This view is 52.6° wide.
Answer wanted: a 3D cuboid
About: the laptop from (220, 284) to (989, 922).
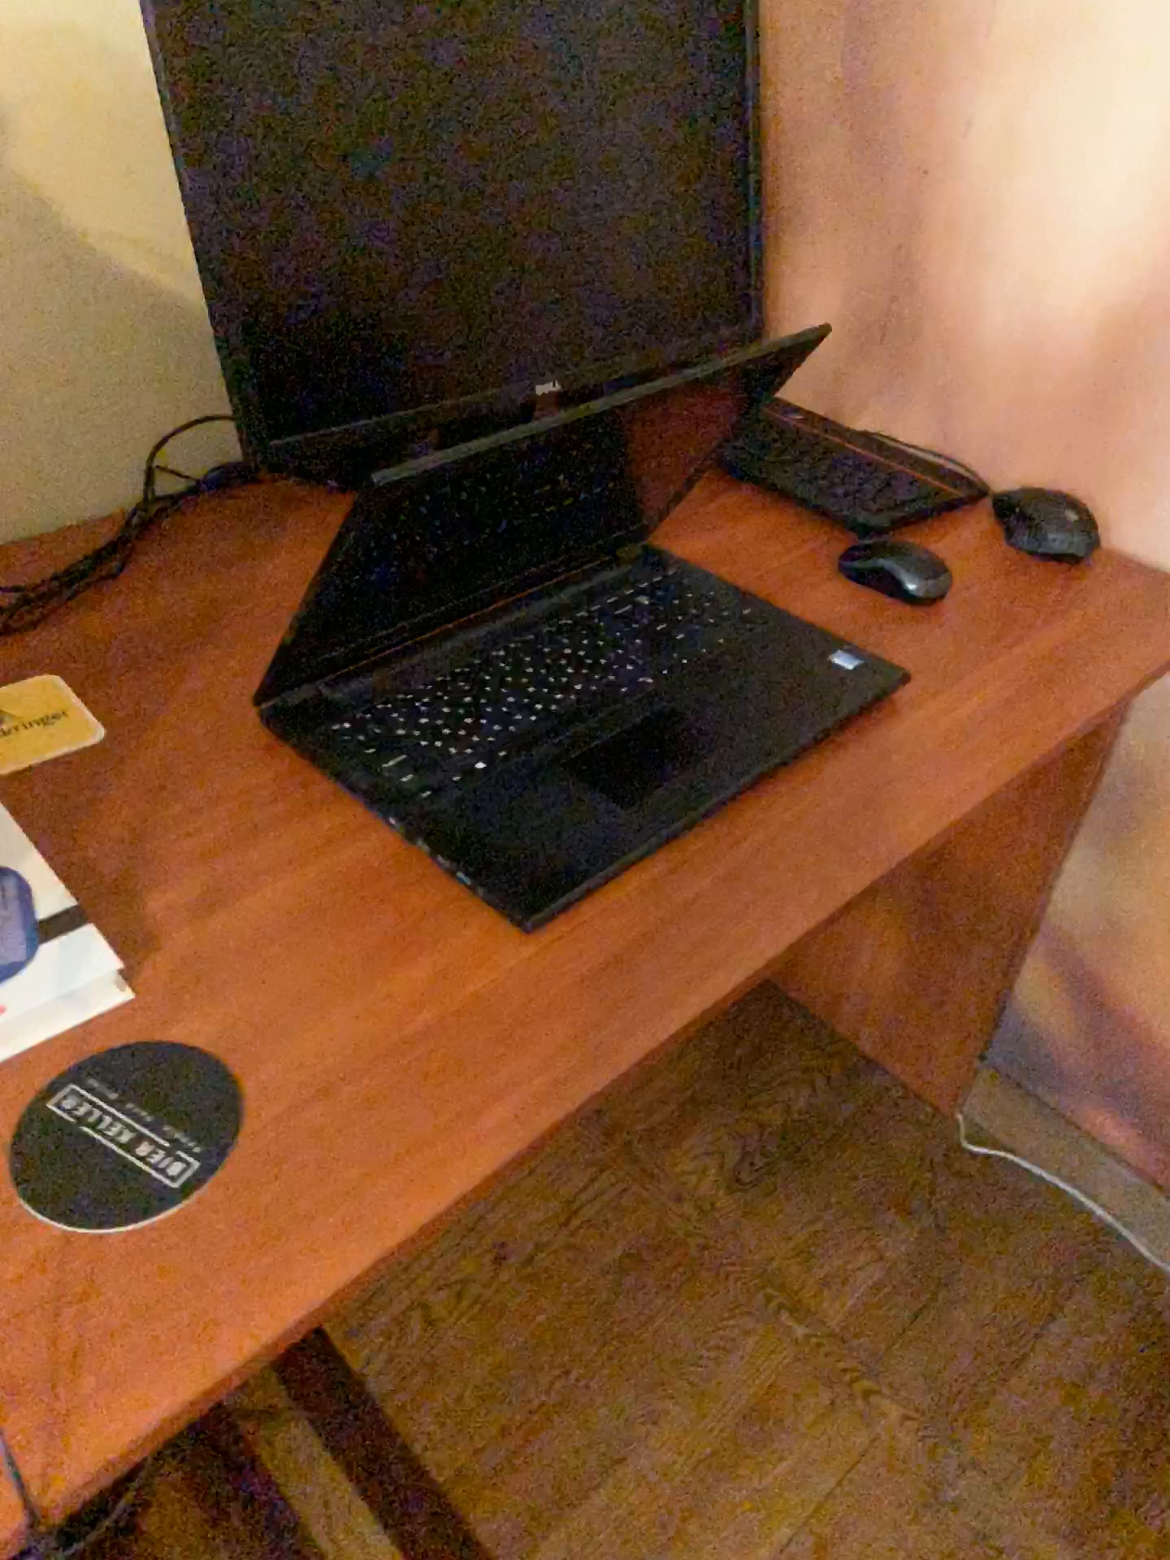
[{"bbox_3d":[0.018,-0.142,0.748,0.254,0.212,0.374,34,46,32],"label":"laptop"}]
